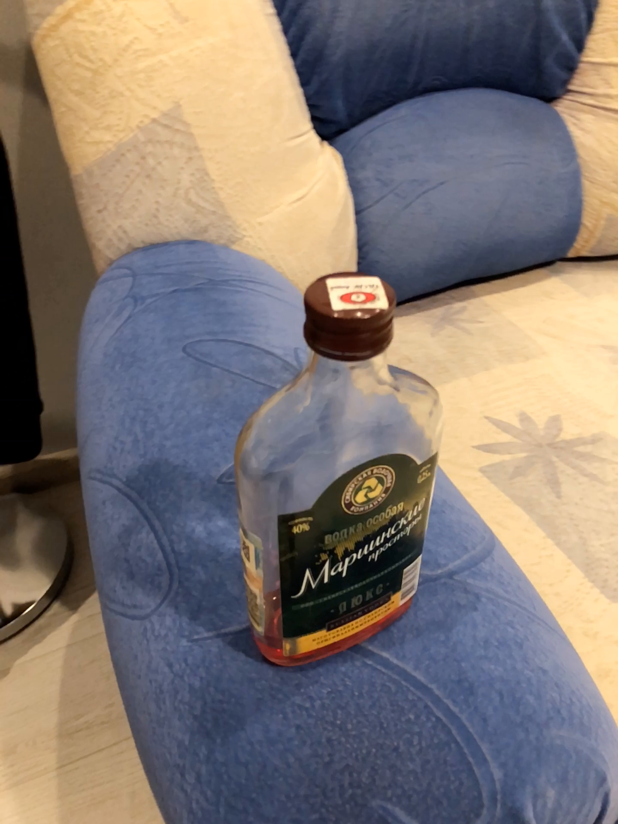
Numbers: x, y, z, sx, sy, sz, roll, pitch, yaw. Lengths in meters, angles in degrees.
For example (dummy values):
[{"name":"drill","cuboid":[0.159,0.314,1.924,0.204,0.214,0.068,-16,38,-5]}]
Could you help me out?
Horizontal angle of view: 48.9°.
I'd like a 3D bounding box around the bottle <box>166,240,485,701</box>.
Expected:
[{"name":"bottle","cuboid":[0.008,0.033,0.268,0.090,0.179,0.040,-20,44,-19]}]
